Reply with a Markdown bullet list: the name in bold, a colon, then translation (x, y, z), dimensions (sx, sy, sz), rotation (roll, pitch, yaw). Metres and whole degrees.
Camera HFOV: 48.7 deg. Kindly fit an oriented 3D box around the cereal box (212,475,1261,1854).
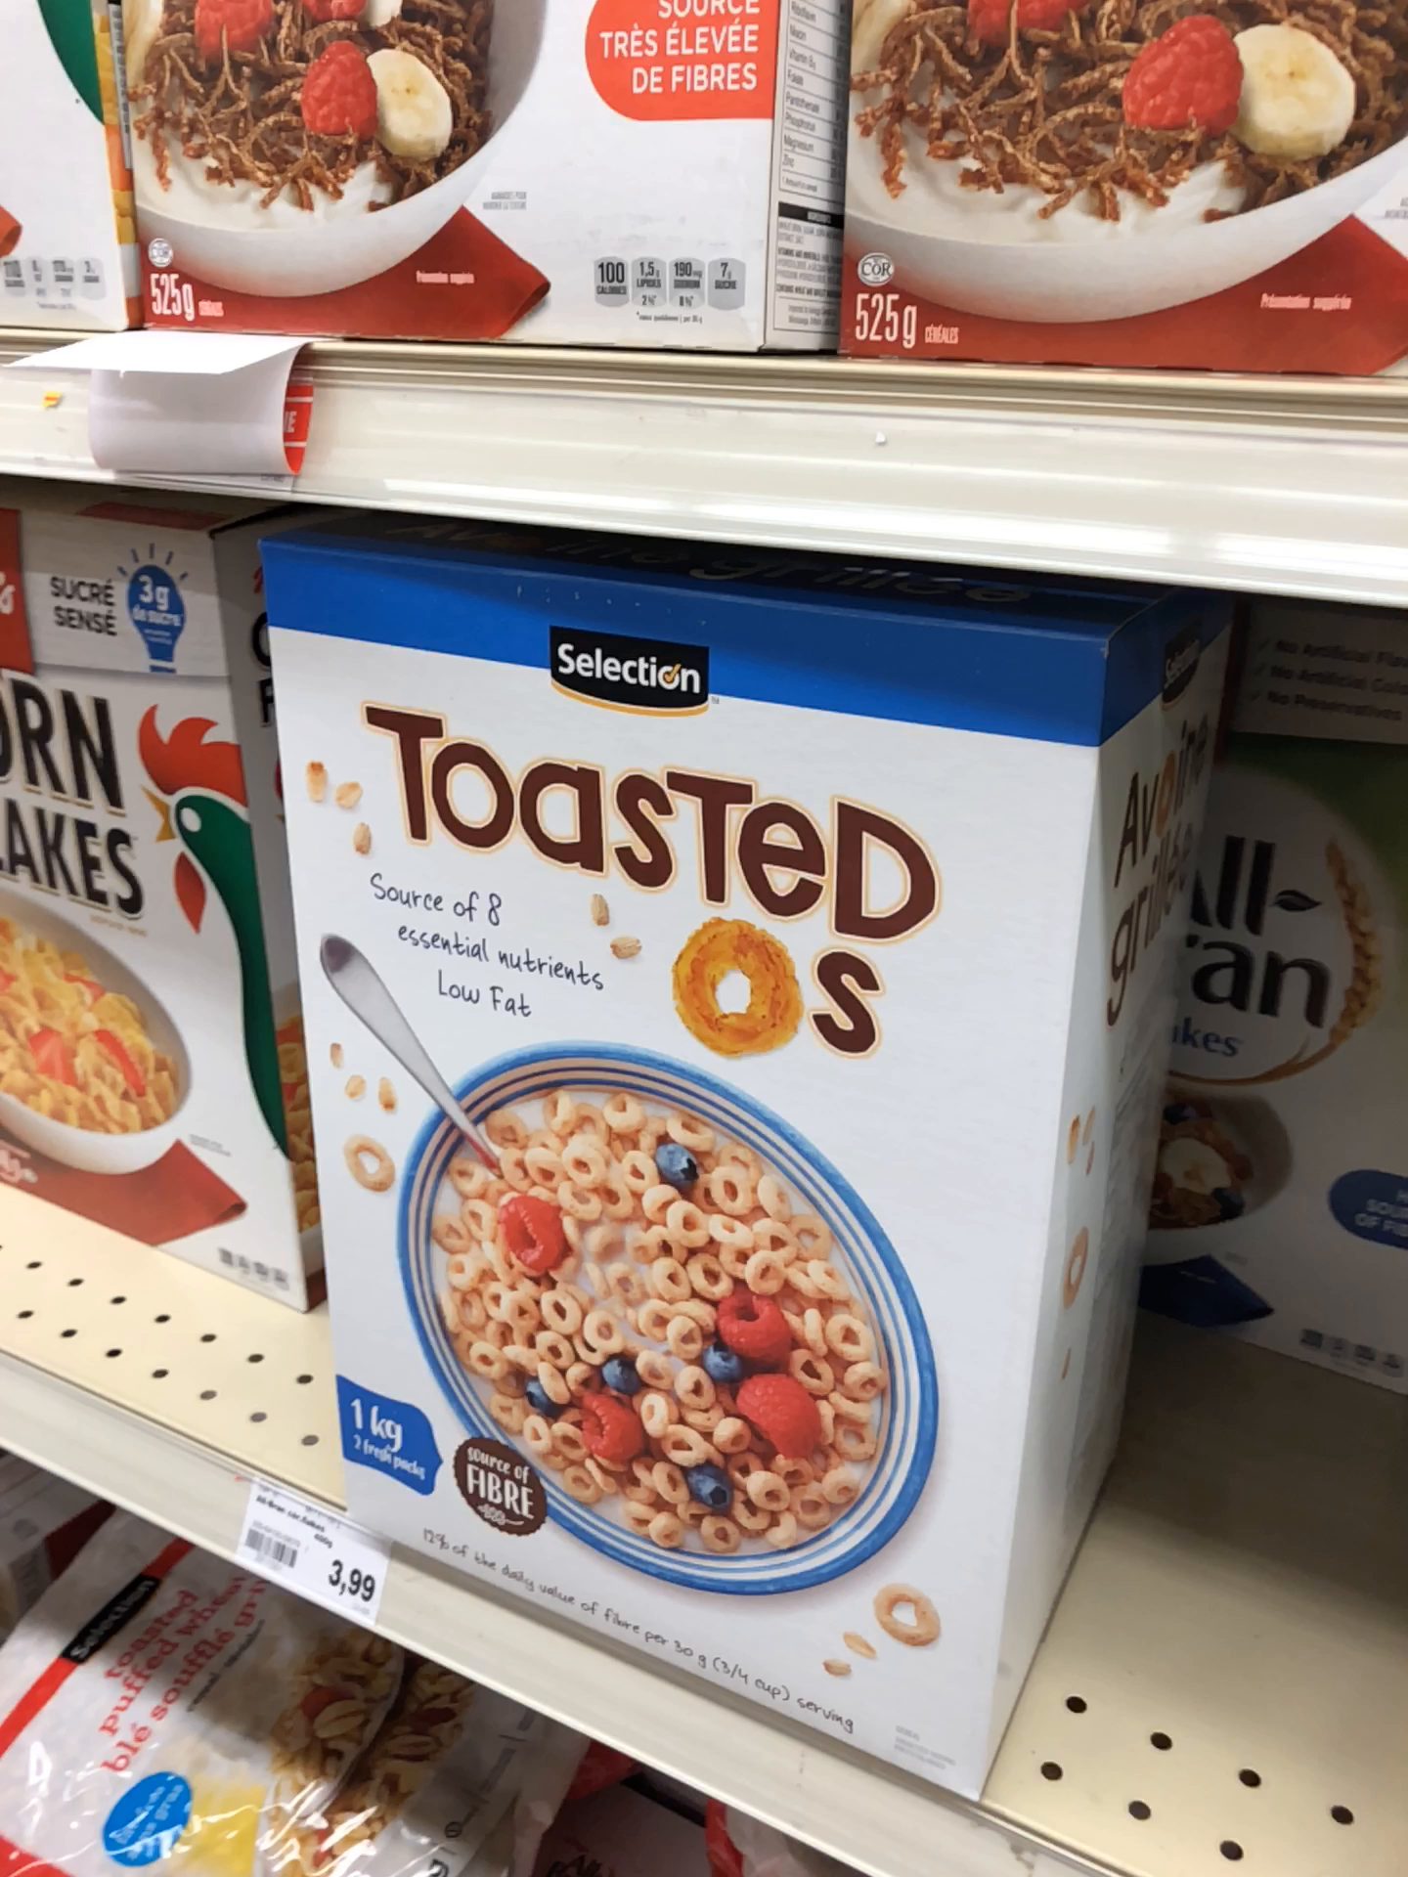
- **cereal box**: translation (0.010, 0.045, 0.484), dimensions (0.240, 0.338, 0.161), rotation (12, 23, 25)
